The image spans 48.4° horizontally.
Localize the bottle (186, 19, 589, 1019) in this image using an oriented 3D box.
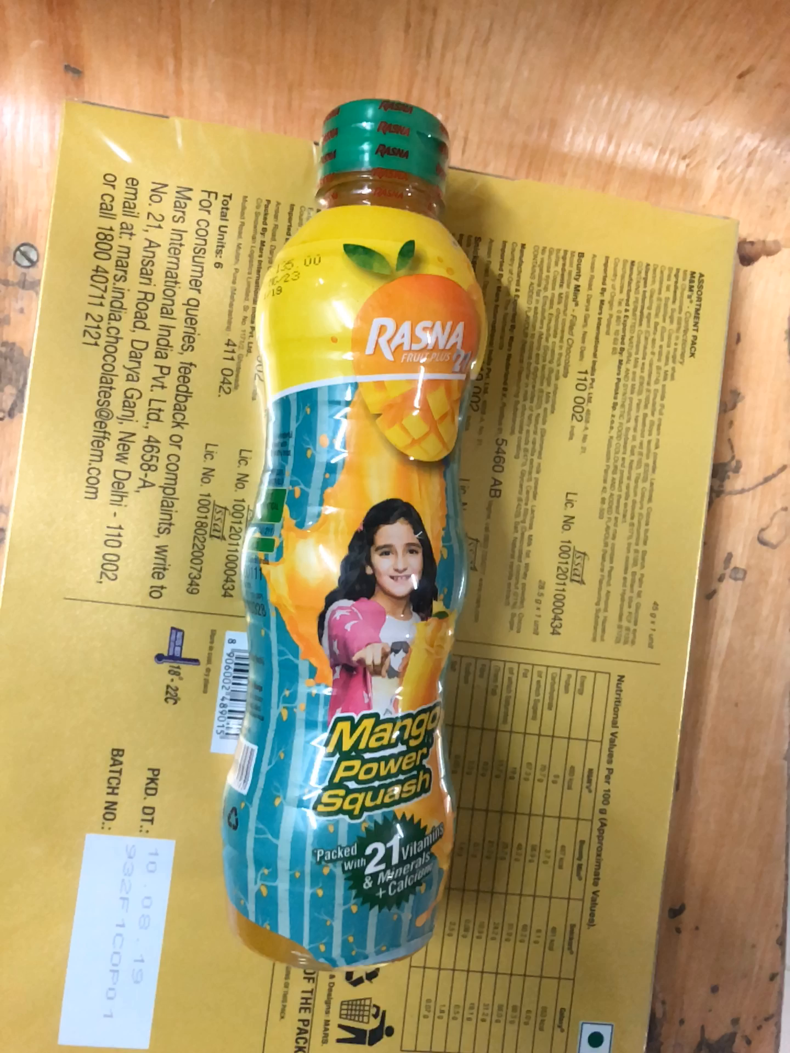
[{"bbox_3d":[-0.003,0.001,0.267,0.080,0.050,0.260,7,90,-27],"label":"bottle"}]
